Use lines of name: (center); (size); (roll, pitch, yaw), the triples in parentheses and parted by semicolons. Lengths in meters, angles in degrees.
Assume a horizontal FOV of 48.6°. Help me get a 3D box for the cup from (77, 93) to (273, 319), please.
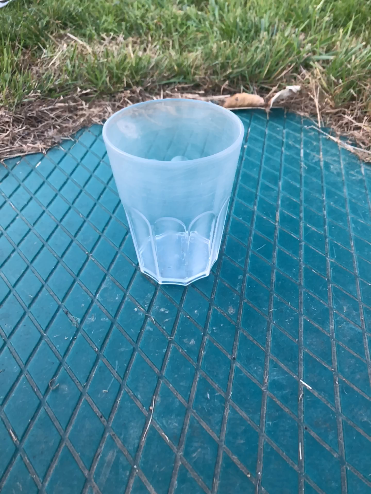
cup: (-0.009, -0.033, 0.296); (0.092, 0.113, 0.088); (1, 40, -1)
